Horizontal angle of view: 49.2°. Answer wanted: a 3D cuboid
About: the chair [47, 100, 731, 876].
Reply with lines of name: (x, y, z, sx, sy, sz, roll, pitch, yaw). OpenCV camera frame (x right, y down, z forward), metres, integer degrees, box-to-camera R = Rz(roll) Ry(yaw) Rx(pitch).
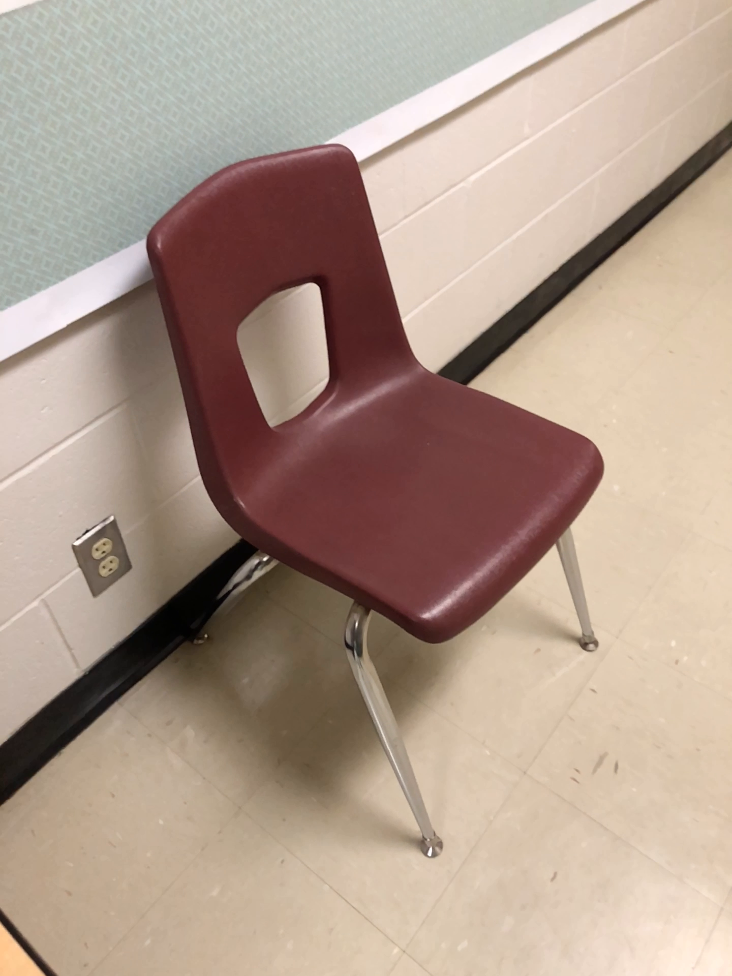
chair: (0.061, -0.007, 1.057, 0.555, 0.707, 0.505, 31, 54, 28)
